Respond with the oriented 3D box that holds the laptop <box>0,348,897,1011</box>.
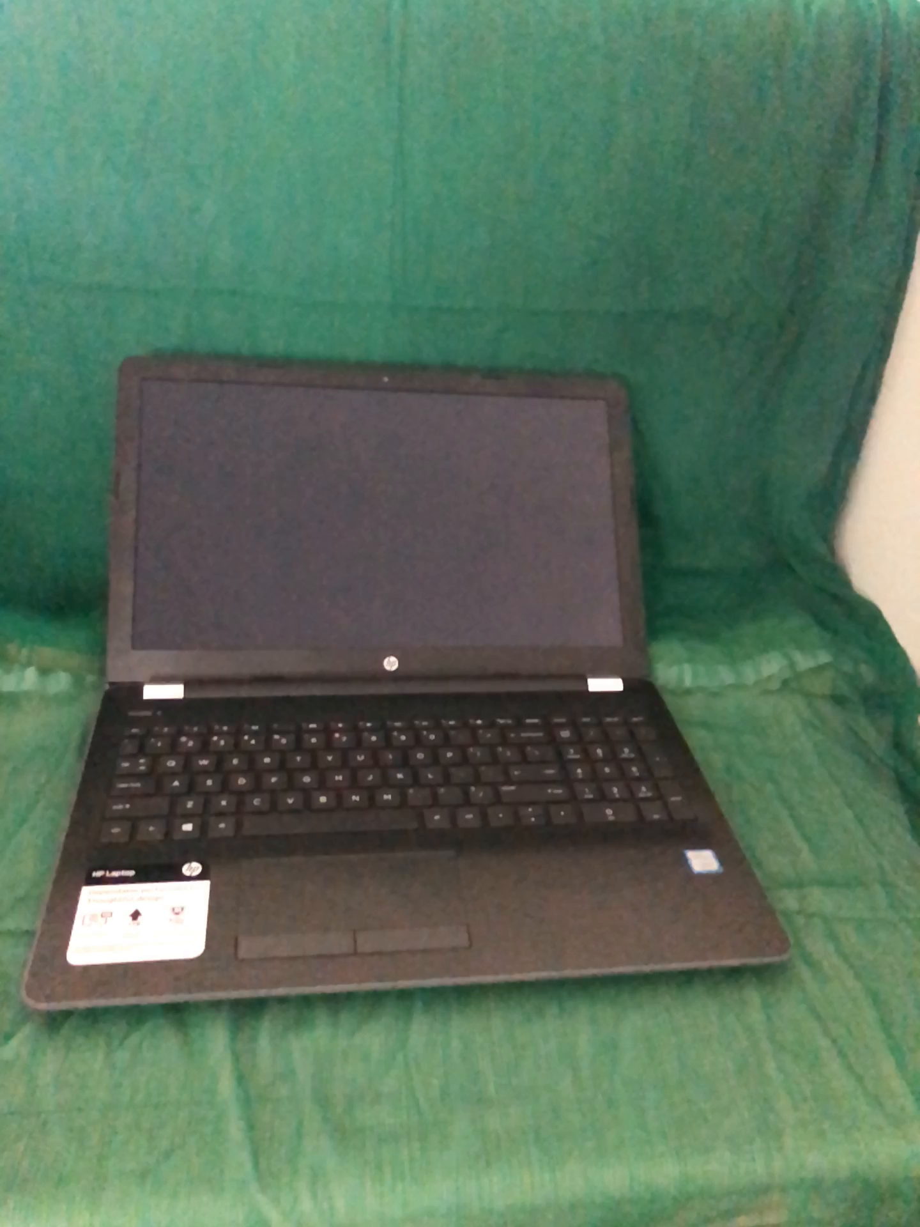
[{"bbox_3d":[-0.031,-0.007,0.627,0.378,0.179,0.416,0,31,-9],"label":"laptop"}]
